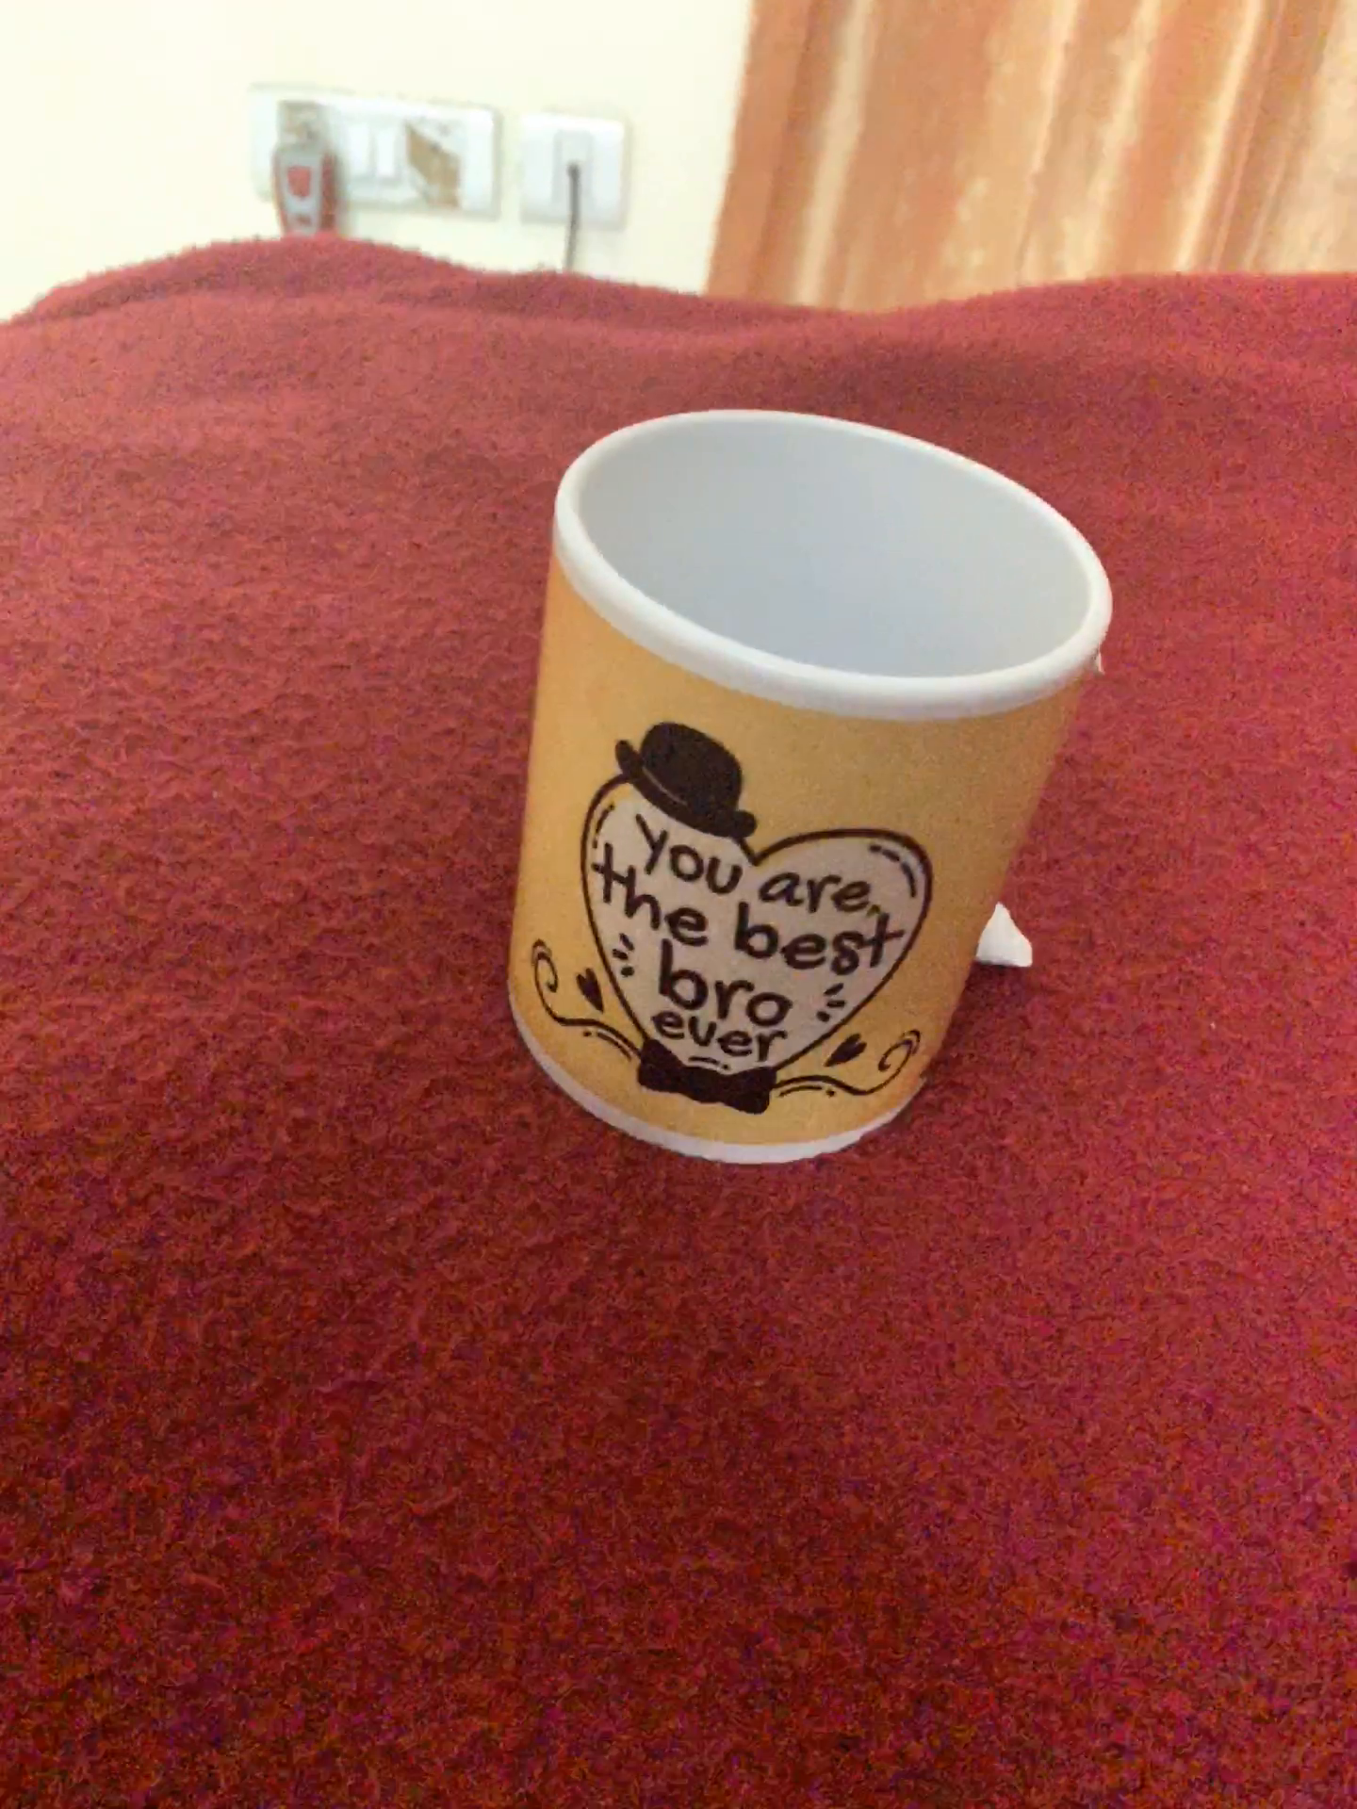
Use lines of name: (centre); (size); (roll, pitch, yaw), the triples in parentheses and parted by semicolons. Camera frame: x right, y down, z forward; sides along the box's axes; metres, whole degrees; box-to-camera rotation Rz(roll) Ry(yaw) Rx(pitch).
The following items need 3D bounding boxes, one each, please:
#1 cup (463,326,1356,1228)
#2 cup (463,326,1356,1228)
cup: (0.029, -0.021, 0.237); (0.110, 0.109, 0.081); (9, 37, -2)
cup: (0.029, -0.021, 0.237); (0.110, 0.109, 0.081); (9, 37, -2)
